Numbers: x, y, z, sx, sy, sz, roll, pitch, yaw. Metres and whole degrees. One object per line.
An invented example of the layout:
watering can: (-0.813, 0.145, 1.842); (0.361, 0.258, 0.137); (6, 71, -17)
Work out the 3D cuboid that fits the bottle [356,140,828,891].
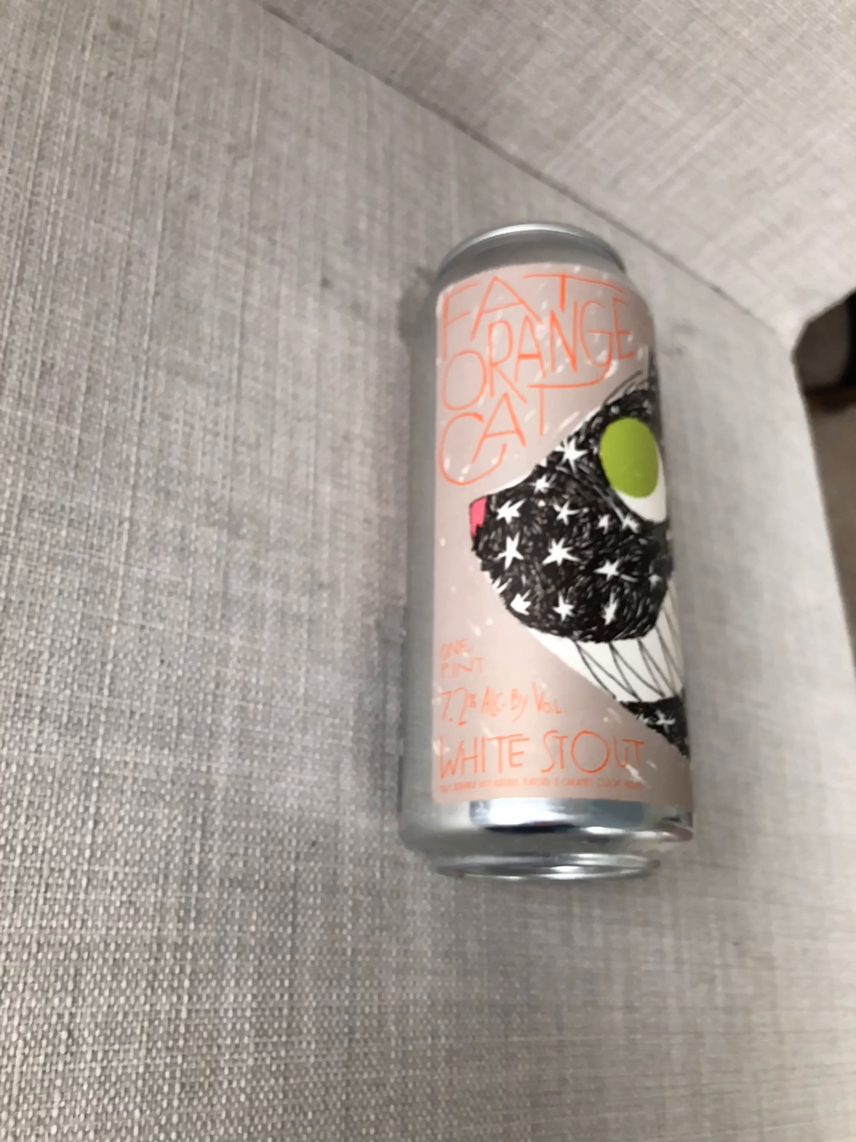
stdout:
bottle: (0.036, -0.005, 0.229); (0.070, 0.069, 0.150); (16, 67, -37)
